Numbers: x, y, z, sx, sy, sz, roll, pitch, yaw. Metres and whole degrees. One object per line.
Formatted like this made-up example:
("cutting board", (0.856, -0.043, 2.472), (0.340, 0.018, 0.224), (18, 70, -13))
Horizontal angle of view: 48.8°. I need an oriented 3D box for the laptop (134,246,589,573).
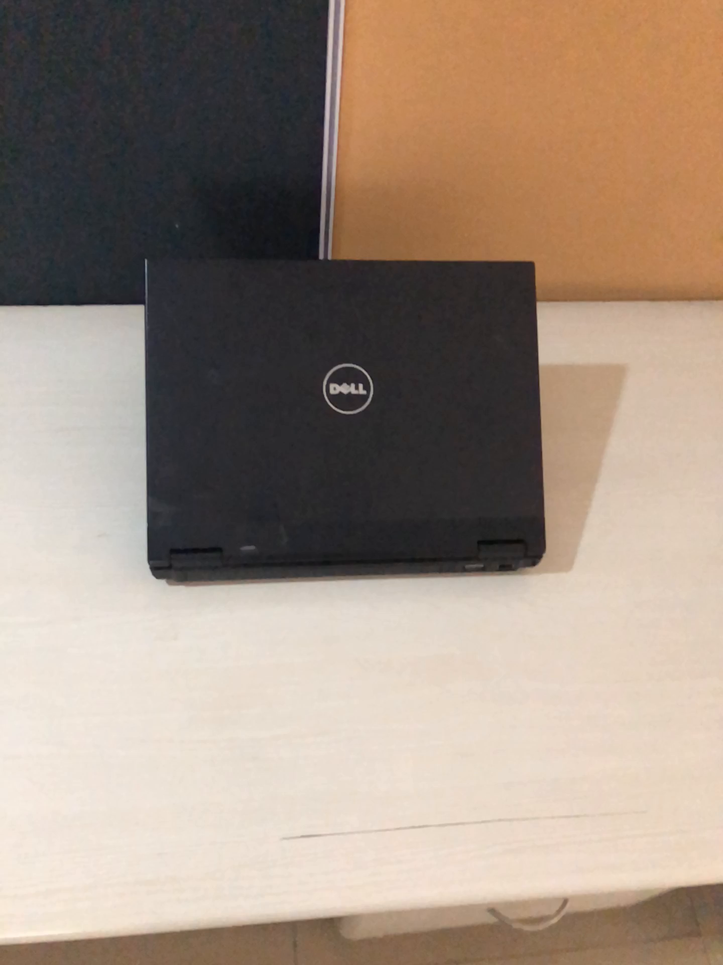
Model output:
("laptop", (-0.009, -0.064, 0.641), (0.302, 0.126, 0.226), (-1, 55, -6))
